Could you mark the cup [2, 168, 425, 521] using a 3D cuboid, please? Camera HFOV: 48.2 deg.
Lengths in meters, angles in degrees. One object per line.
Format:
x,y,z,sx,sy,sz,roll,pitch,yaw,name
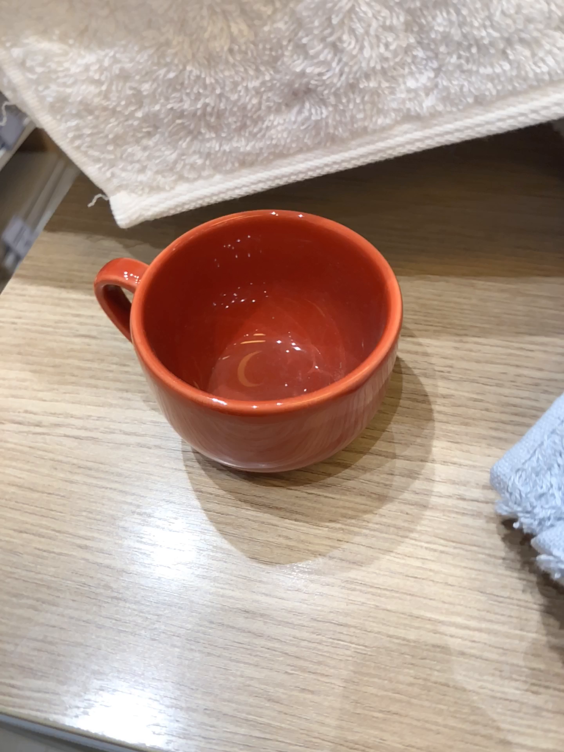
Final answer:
-0.015,-0.014,0.203,0.100,0.050,0.080,14,56,13,cup
